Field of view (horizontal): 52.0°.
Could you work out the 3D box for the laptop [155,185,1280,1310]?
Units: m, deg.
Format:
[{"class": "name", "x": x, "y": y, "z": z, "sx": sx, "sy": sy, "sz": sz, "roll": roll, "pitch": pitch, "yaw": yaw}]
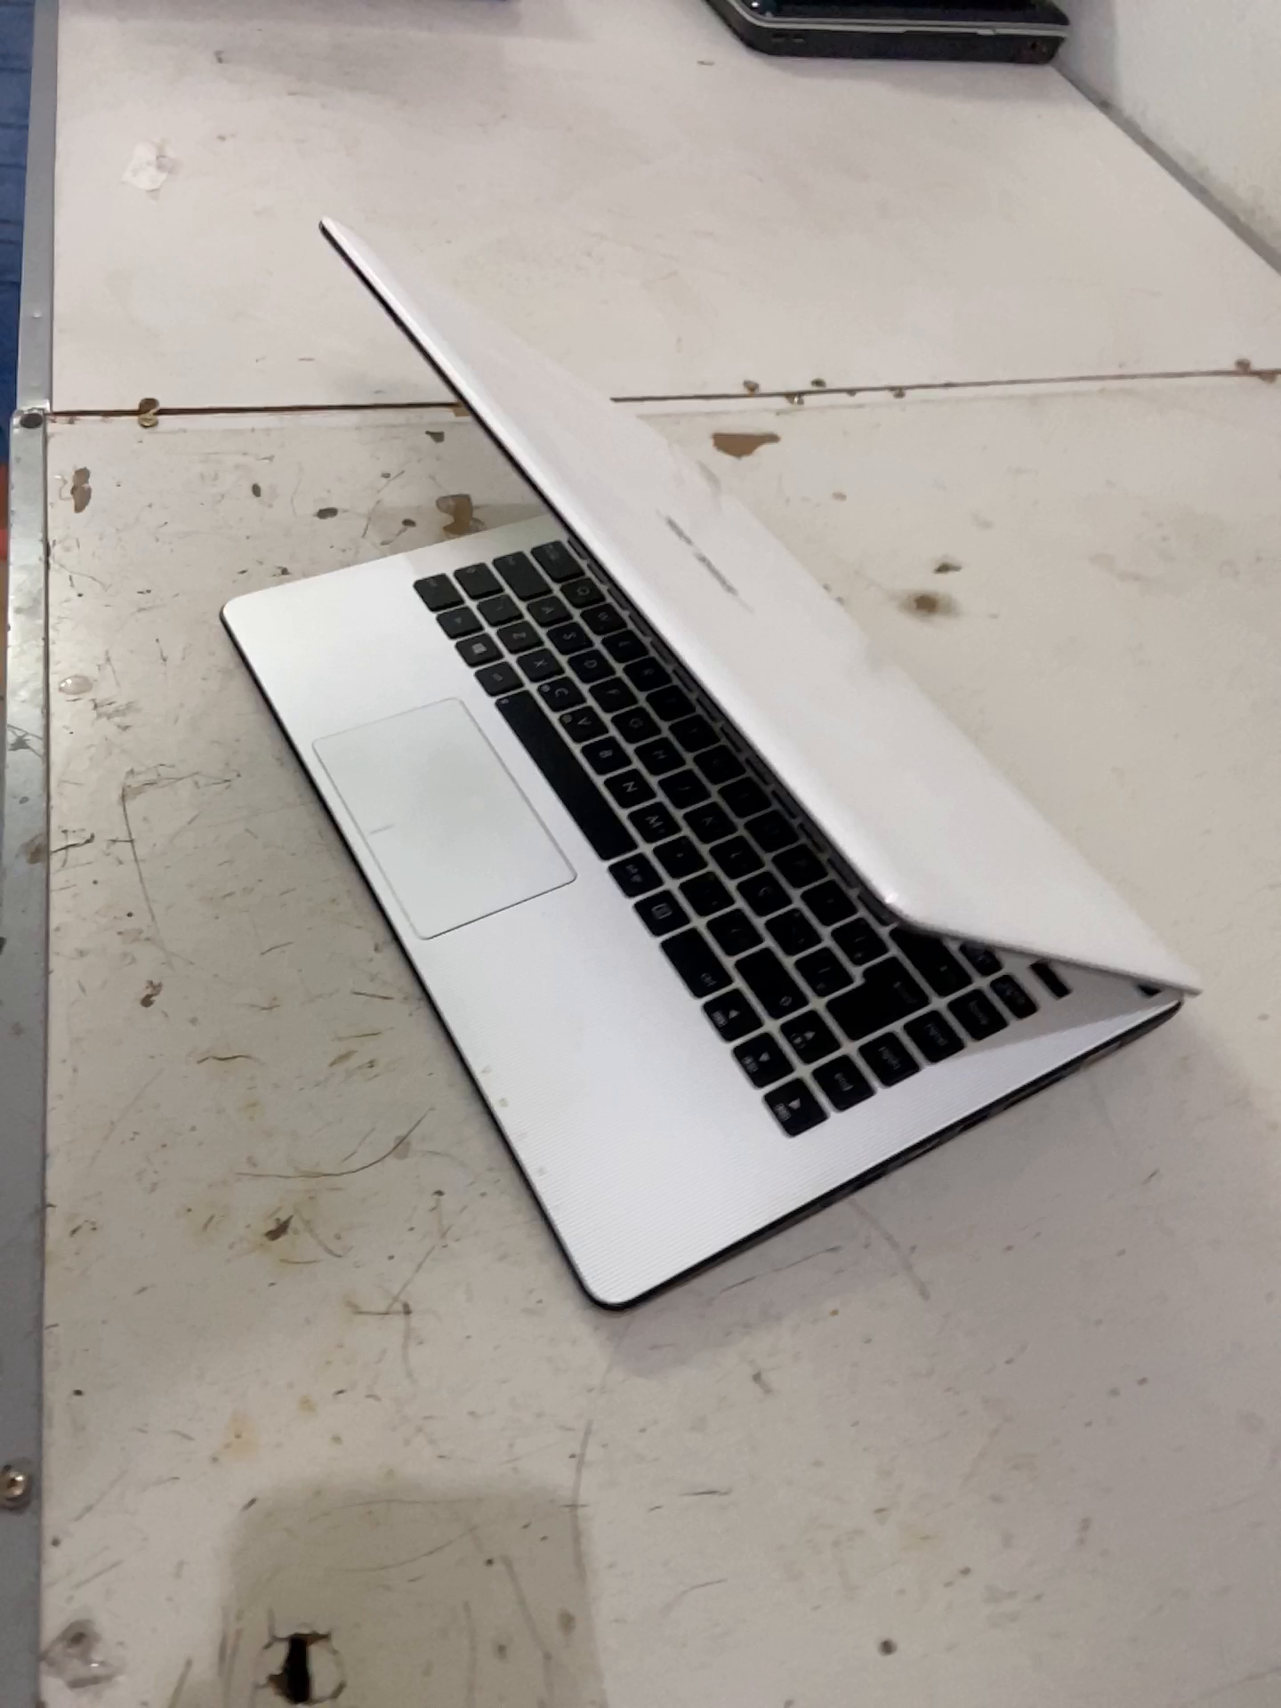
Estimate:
[{"class": "laptop", "x": 0.012, "y": -0.072, "z": 0.462, "sx": 0.236, "sy": 0.141, "sz": 0.343, "roll": -21, "pitch": 55, "yaw": -22}]
